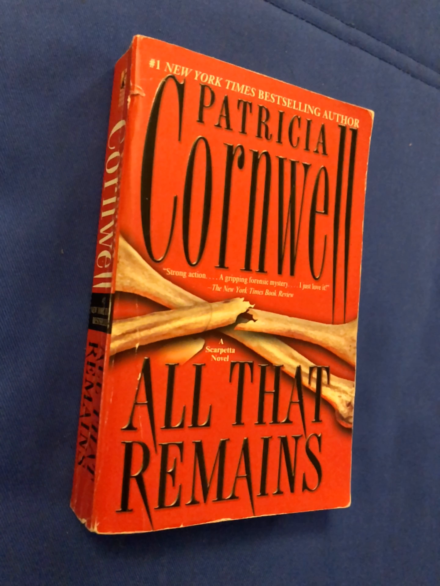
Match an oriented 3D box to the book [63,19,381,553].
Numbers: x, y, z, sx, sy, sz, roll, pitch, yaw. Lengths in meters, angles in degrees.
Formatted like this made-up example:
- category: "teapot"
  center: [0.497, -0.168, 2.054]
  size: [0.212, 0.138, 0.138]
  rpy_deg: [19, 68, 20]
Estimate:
- category: "book"
  center: [0.006, 0.001, 0.190]
  size: [0.110, 0.030, 0.166]
  rpy_deg: [6, 88, -27]
